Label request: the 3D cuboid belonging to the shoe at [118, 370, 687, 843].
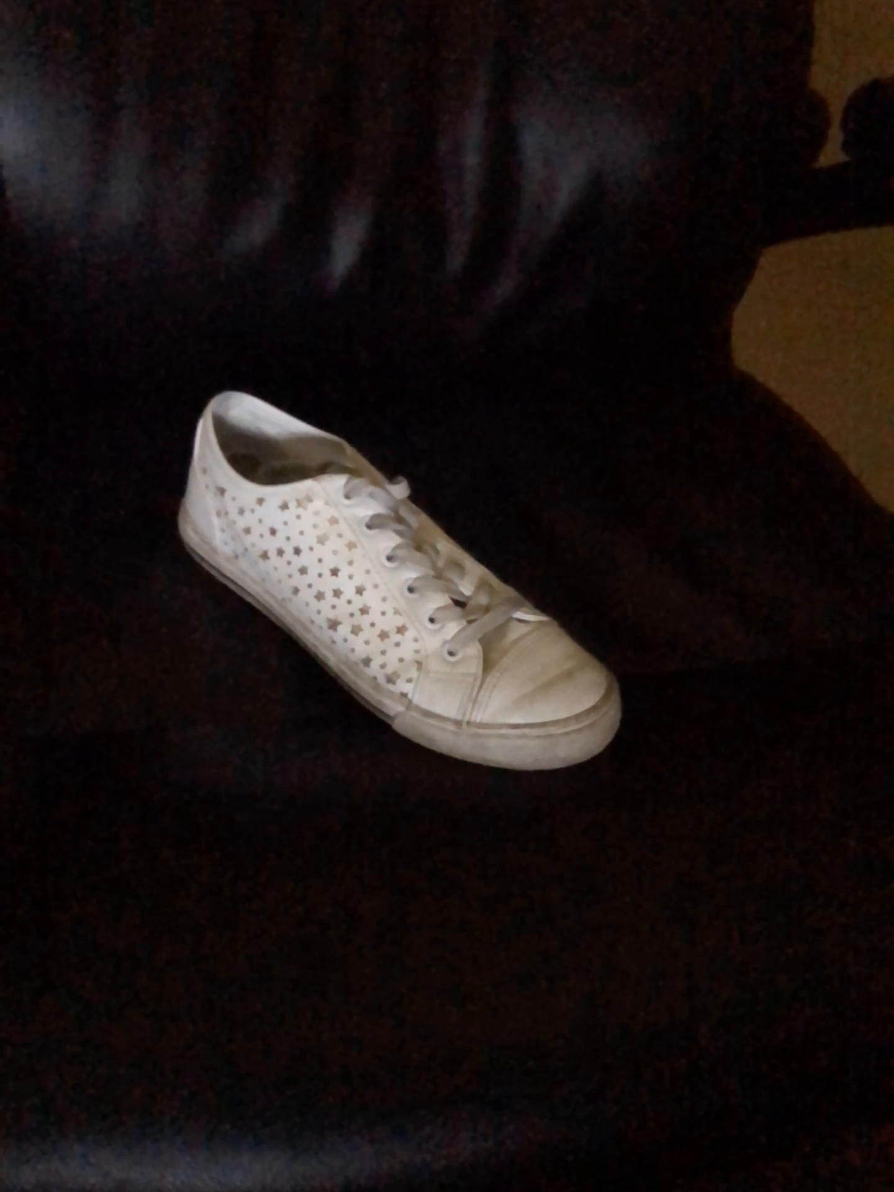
[{"bbox_3d":[-0.030,-0.009,0.487,0.260,0.099,0.101,28,45,28],"label":"shoe"}]
